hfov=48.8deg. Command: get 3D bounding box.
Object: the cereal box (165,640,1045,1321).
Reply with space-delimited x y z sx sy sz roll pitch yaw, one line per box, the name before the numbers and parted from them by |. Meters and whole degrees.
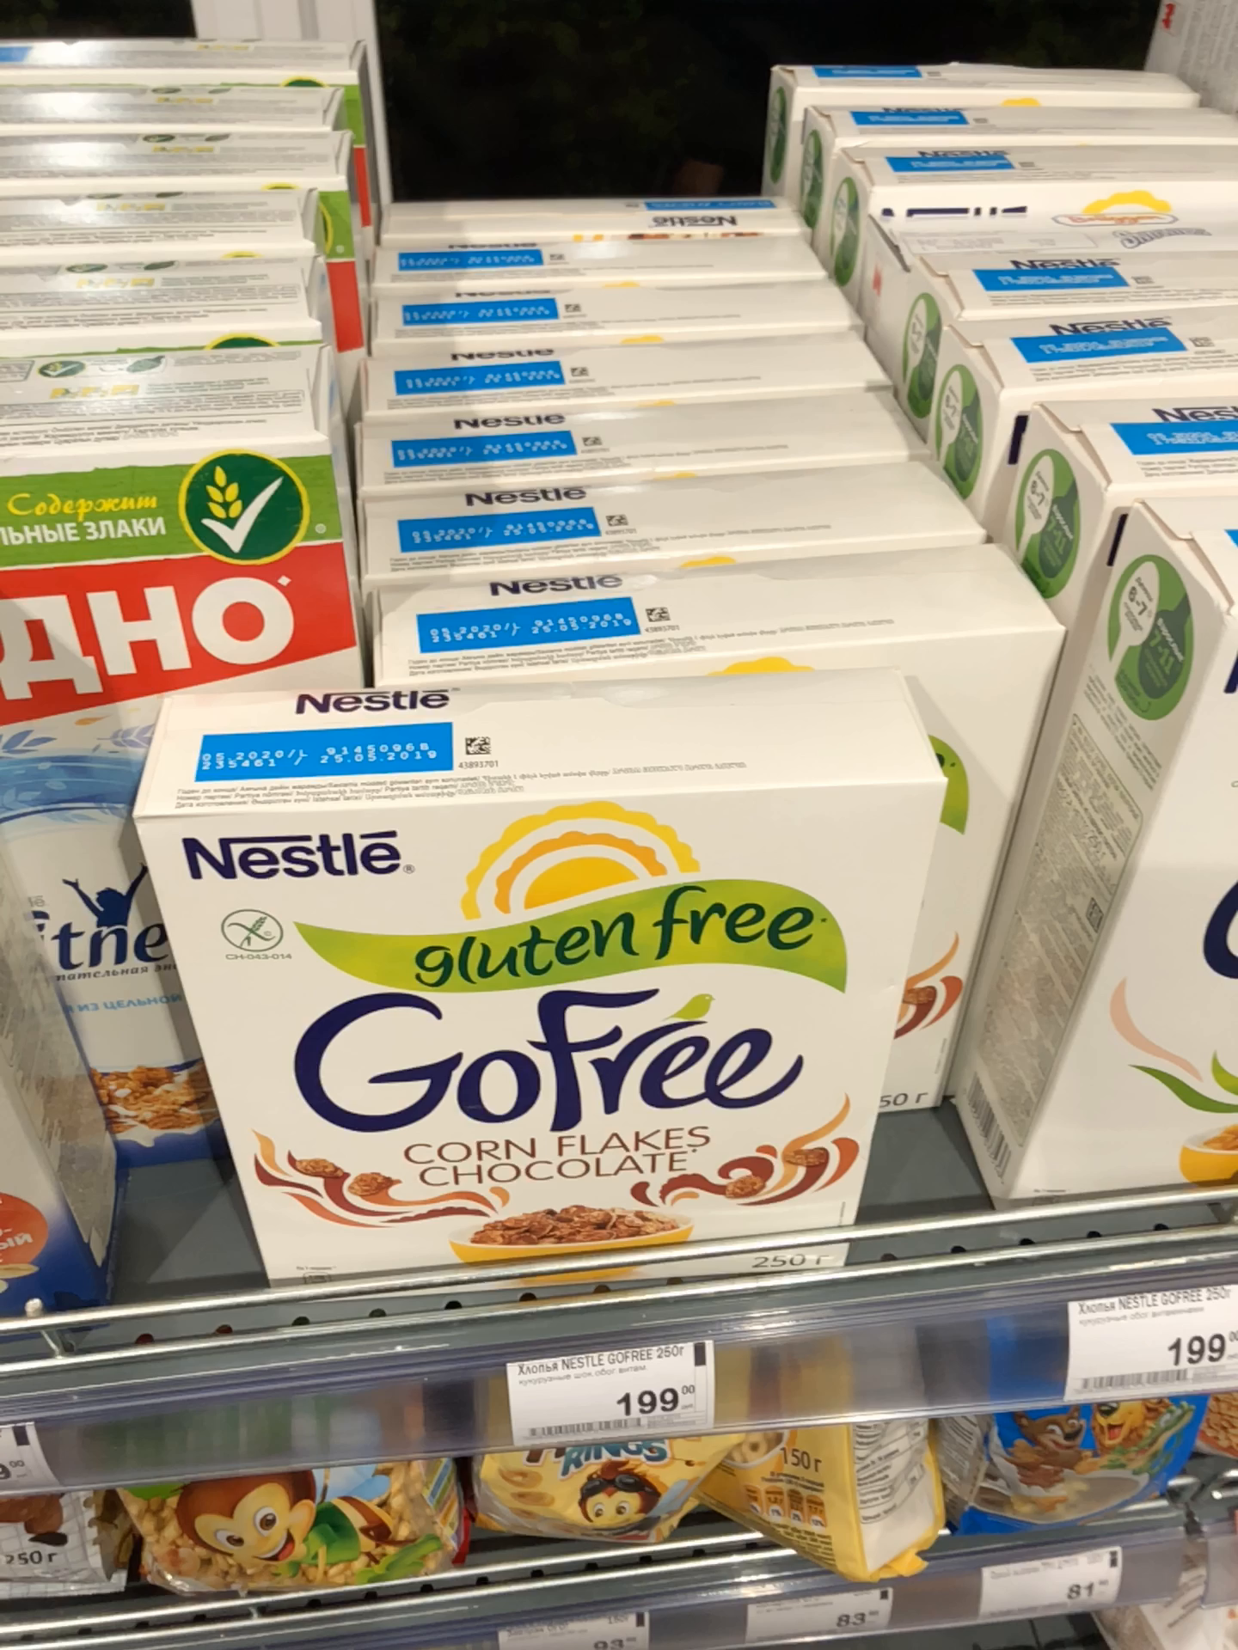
cereal box | -0.005 0.057 0.404 0.200 0.219 0.060 -2 41 -4
